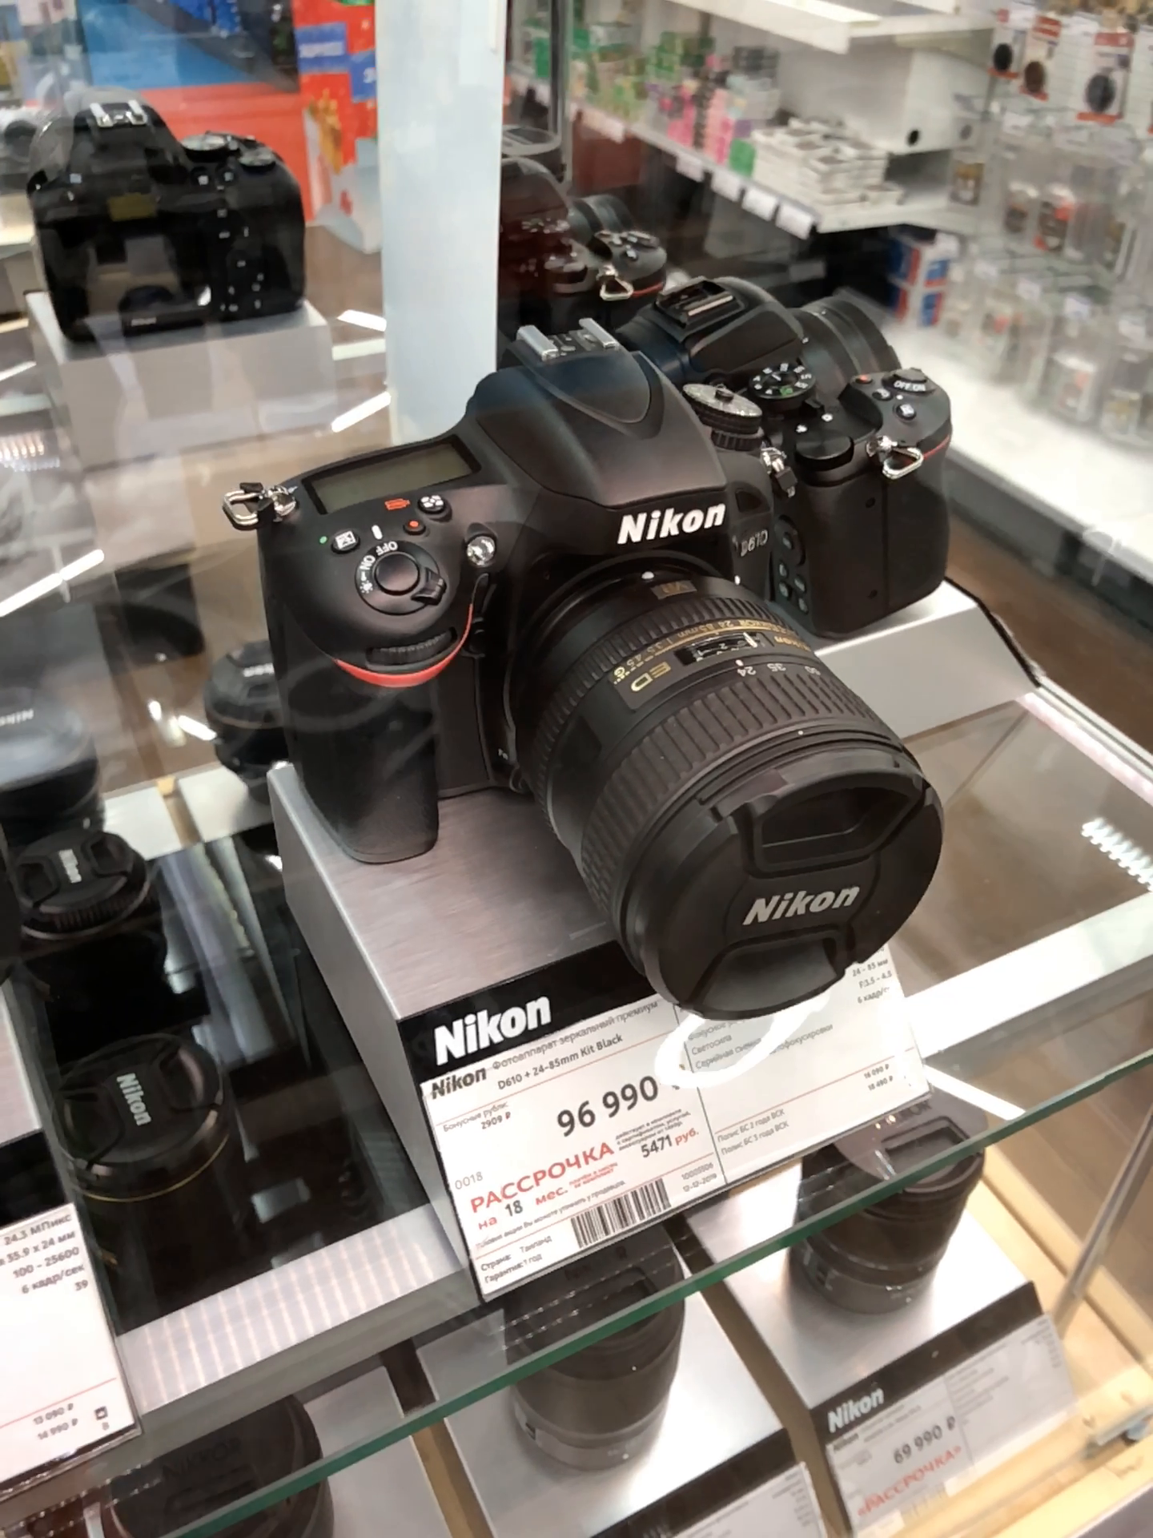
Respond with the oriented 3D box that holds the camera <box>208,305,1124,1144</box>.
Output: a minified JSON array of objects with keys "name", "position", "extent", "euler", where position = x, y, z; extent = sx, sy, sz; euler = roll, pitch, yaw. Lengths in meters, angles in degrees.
[{"name":"camera","position":[0.006,-0.025,0.307],"extent":[0.148,0.109,0.151],"euler":[-12,40,-17]}]
